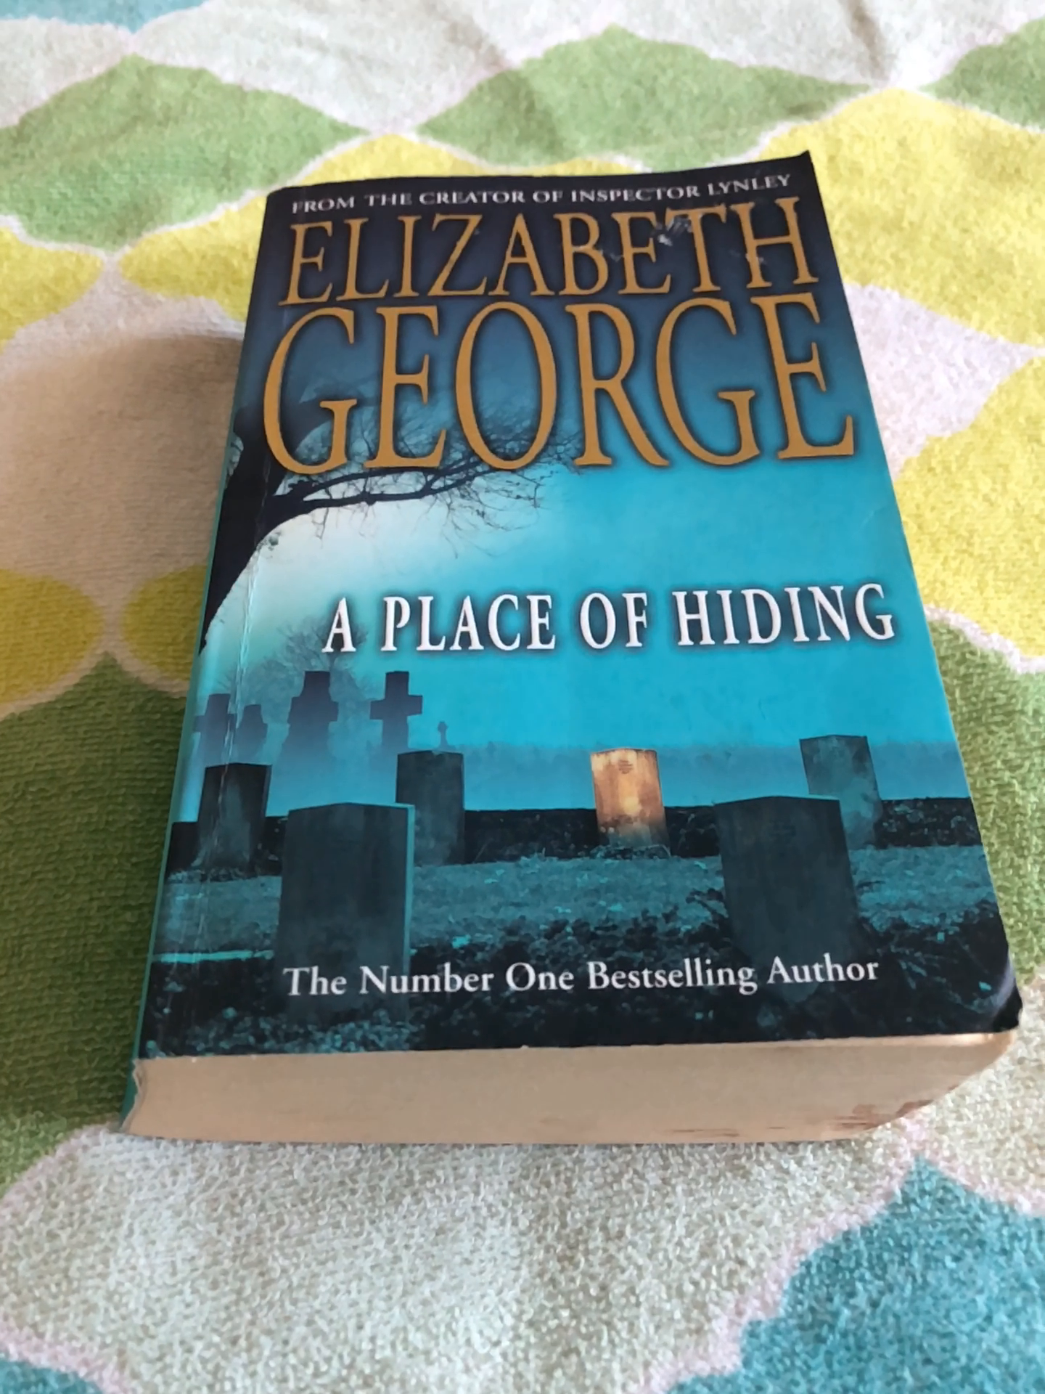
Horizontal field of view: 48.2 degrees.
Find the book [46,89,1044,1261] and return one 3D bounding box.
[{"bbox_3d":[0.002,-0.014,0.223,0.130,0.070,0.211,1,60,-7],"label":"book"}]
